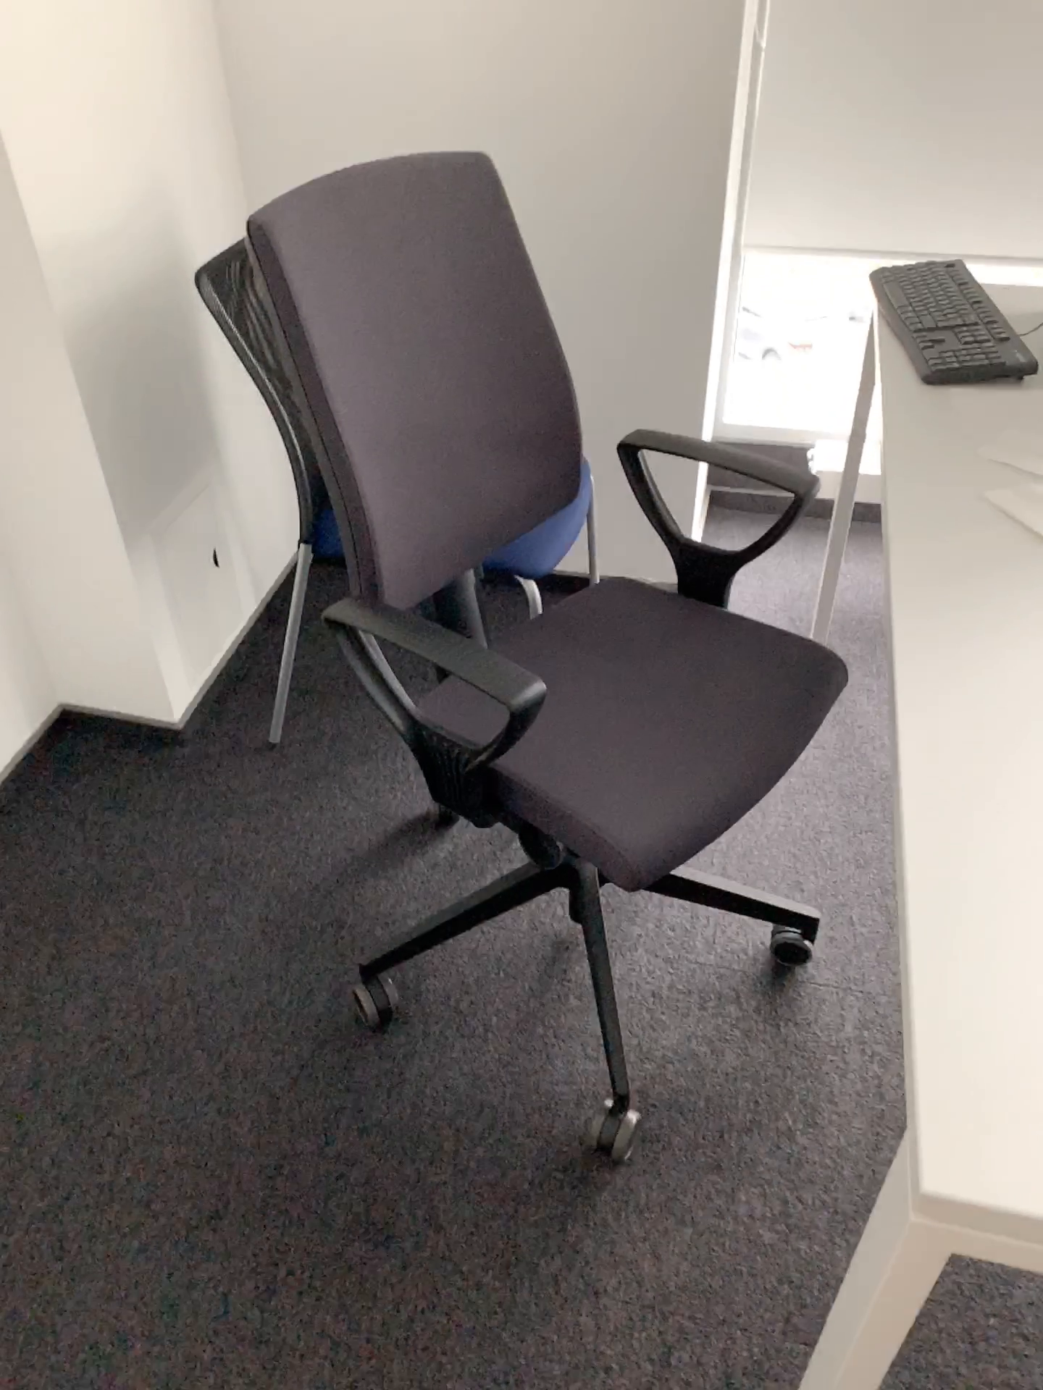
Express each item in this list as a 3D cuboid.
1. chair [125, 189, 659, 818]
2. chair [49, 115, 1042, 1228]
[{"bbox_3d":[-0.147,-0.359,1.879,0.610,0.805,0.674,10,40,13],"label":"chair"},{"bbox_3d":[0.058,-0.062,1.324,0.681,1.004,0.693,26,46,29],"label":"chair"}]
